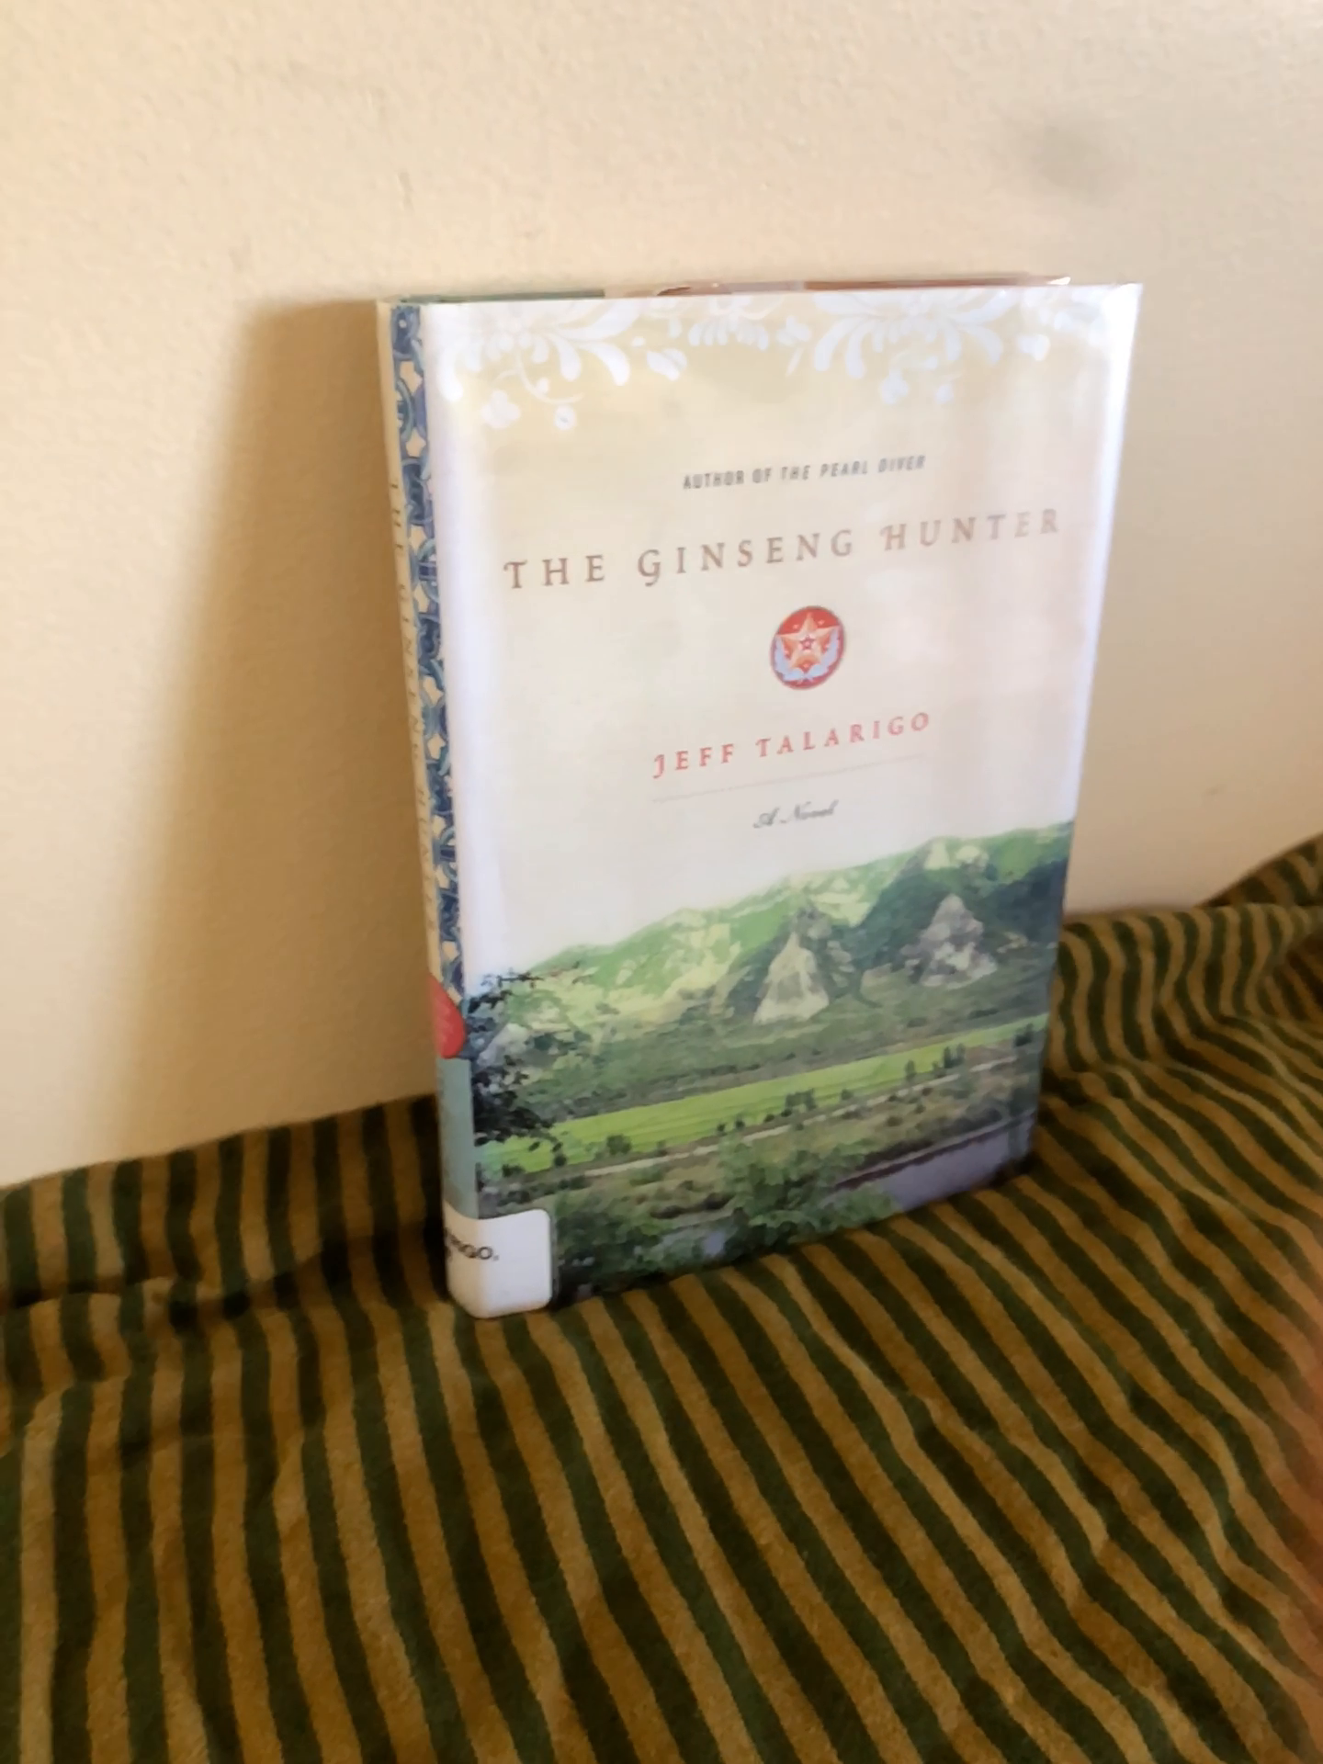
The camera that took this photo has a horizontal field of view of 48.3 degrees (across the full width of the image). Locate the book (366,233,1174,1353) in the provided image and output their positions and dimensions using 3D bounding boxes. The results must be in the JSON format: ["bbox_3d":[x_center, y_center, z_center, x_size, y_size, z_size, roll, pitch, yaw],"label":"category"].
[{"bbox_3d":[0.017,-0.014,0.288,0.137,0.203,0.029,-11,31,-26],"label":"book"}]
